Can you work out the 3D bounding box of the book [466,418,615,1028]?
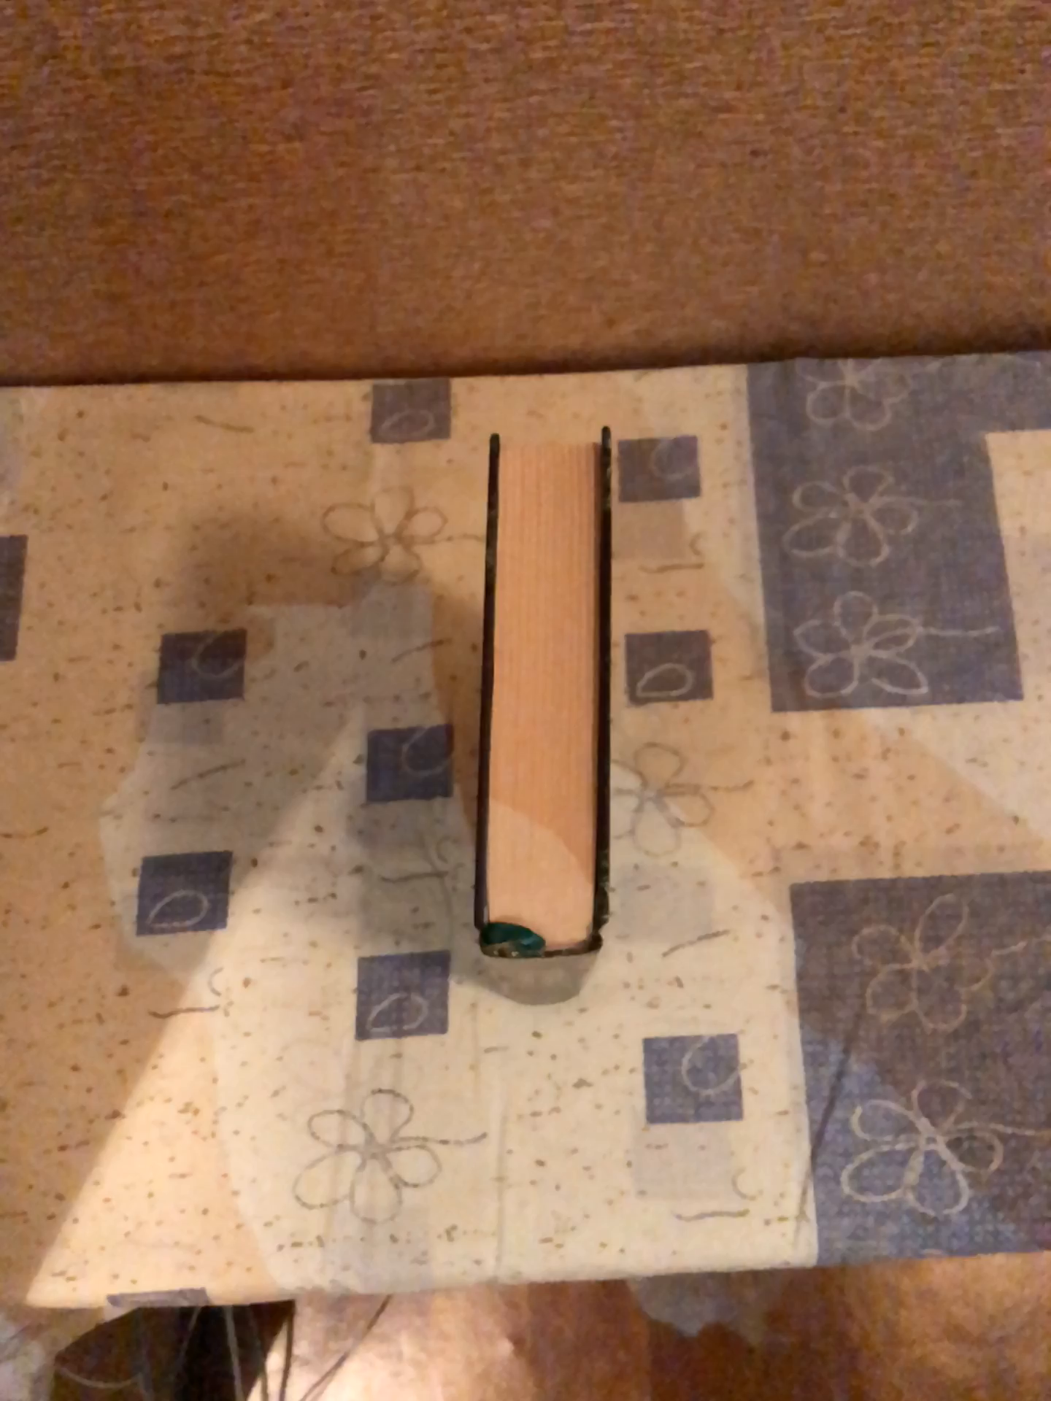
[{"bbox_3d":[0.010,0.028,0.442,0.040,0.217,0.173,0,71,3],"label":"book"}]
